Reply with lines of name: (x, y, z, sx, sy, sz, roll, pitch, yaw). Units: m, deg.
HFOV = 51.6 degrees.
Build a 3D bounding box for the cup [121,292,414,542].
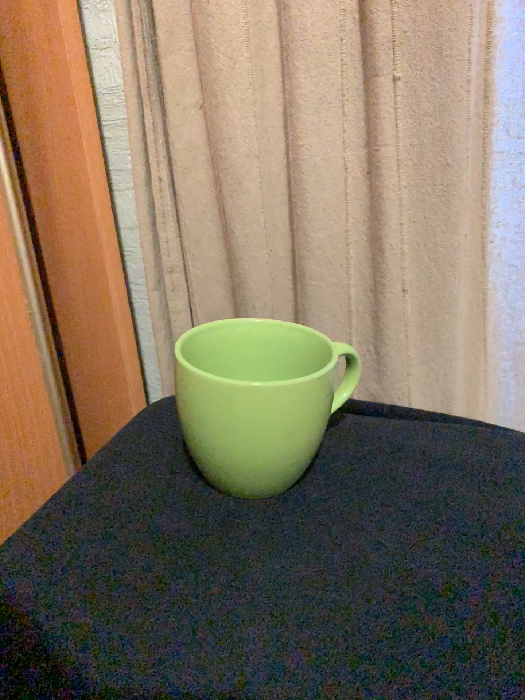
cup: (0.002, 0.025, 0.298, 0.125, 0.069, 0.090, -16, 30, -30)
